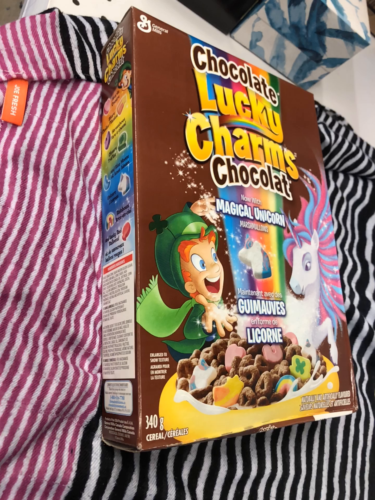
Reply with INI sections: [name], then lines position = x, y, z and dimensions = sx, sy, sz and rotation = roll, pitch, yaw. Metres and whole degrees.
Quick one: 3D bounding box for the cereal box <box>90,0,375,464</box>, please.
[cereal box]
position = 0.041, -0.020, 0.319
dimensions = 0.211, 0.060, 0.290
rotation = 8, 74, -35
